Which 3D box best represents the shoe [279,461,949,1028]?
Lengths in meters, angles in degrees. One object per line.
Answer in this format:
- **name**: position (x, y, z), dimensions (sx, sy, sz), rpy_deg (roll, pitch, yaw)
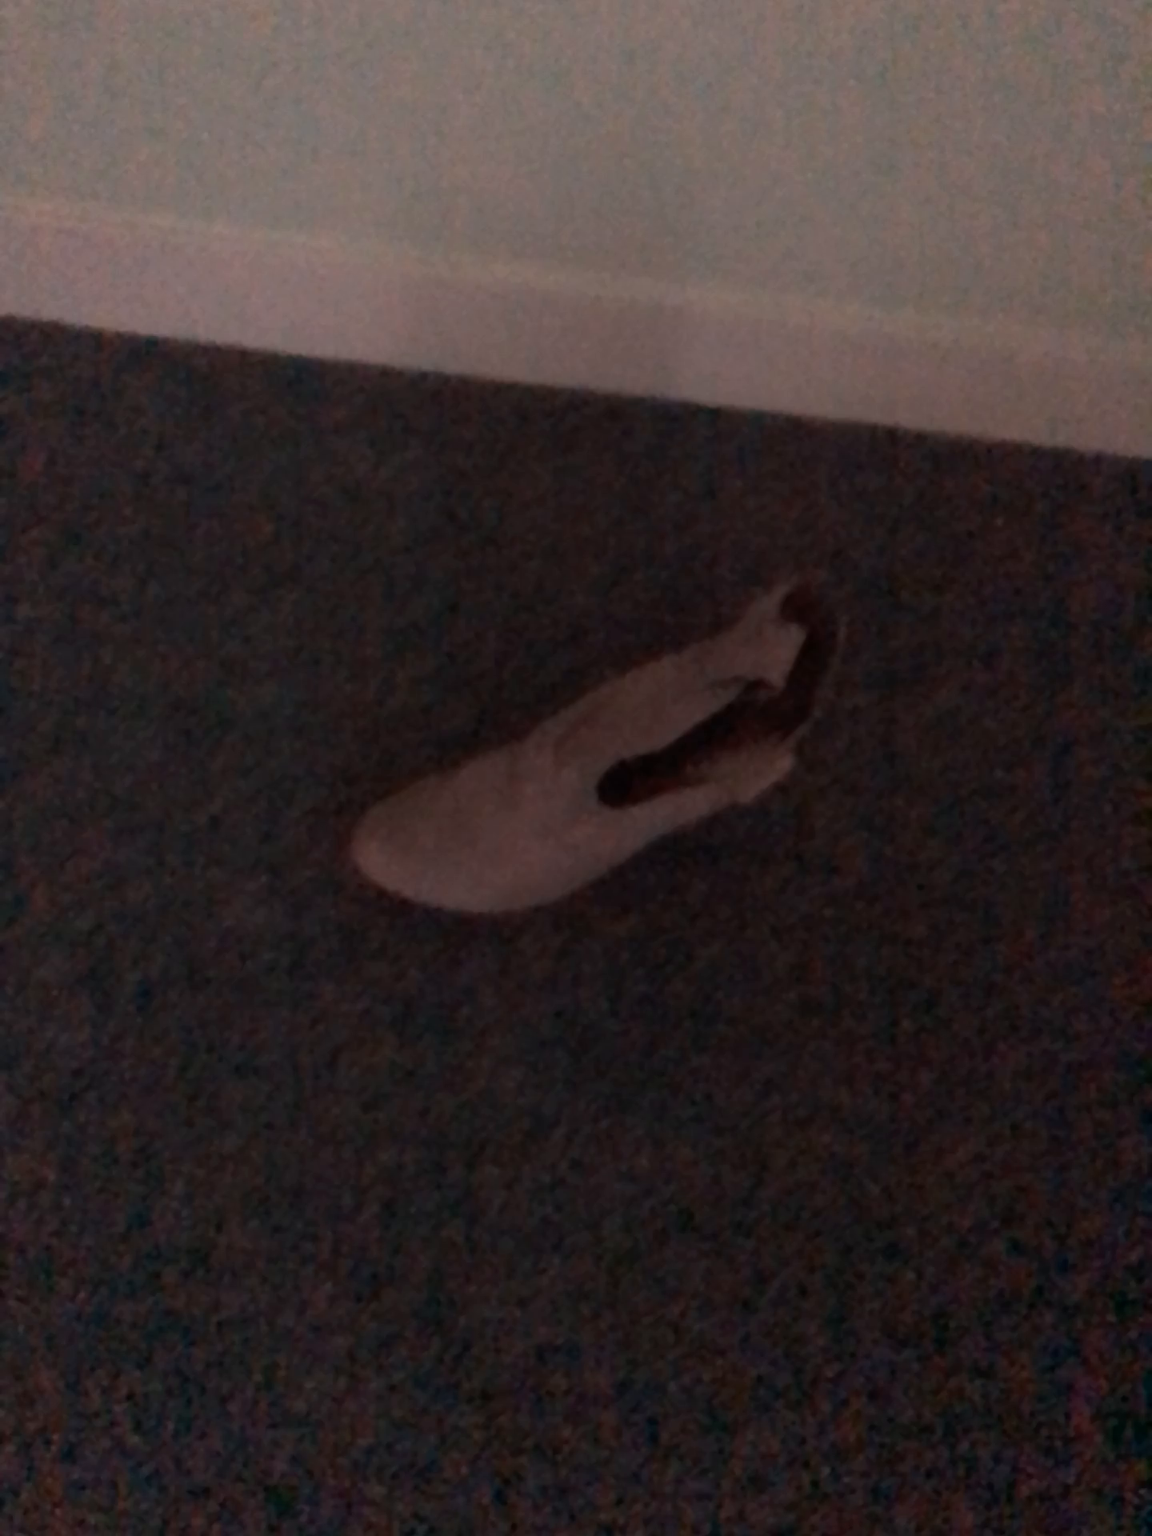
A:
- **shoe**: position (0.009, 0.002, 0.619), dimensions (0.240, 0.220, 0.130), rpy_deg (-20, 72, -12)
